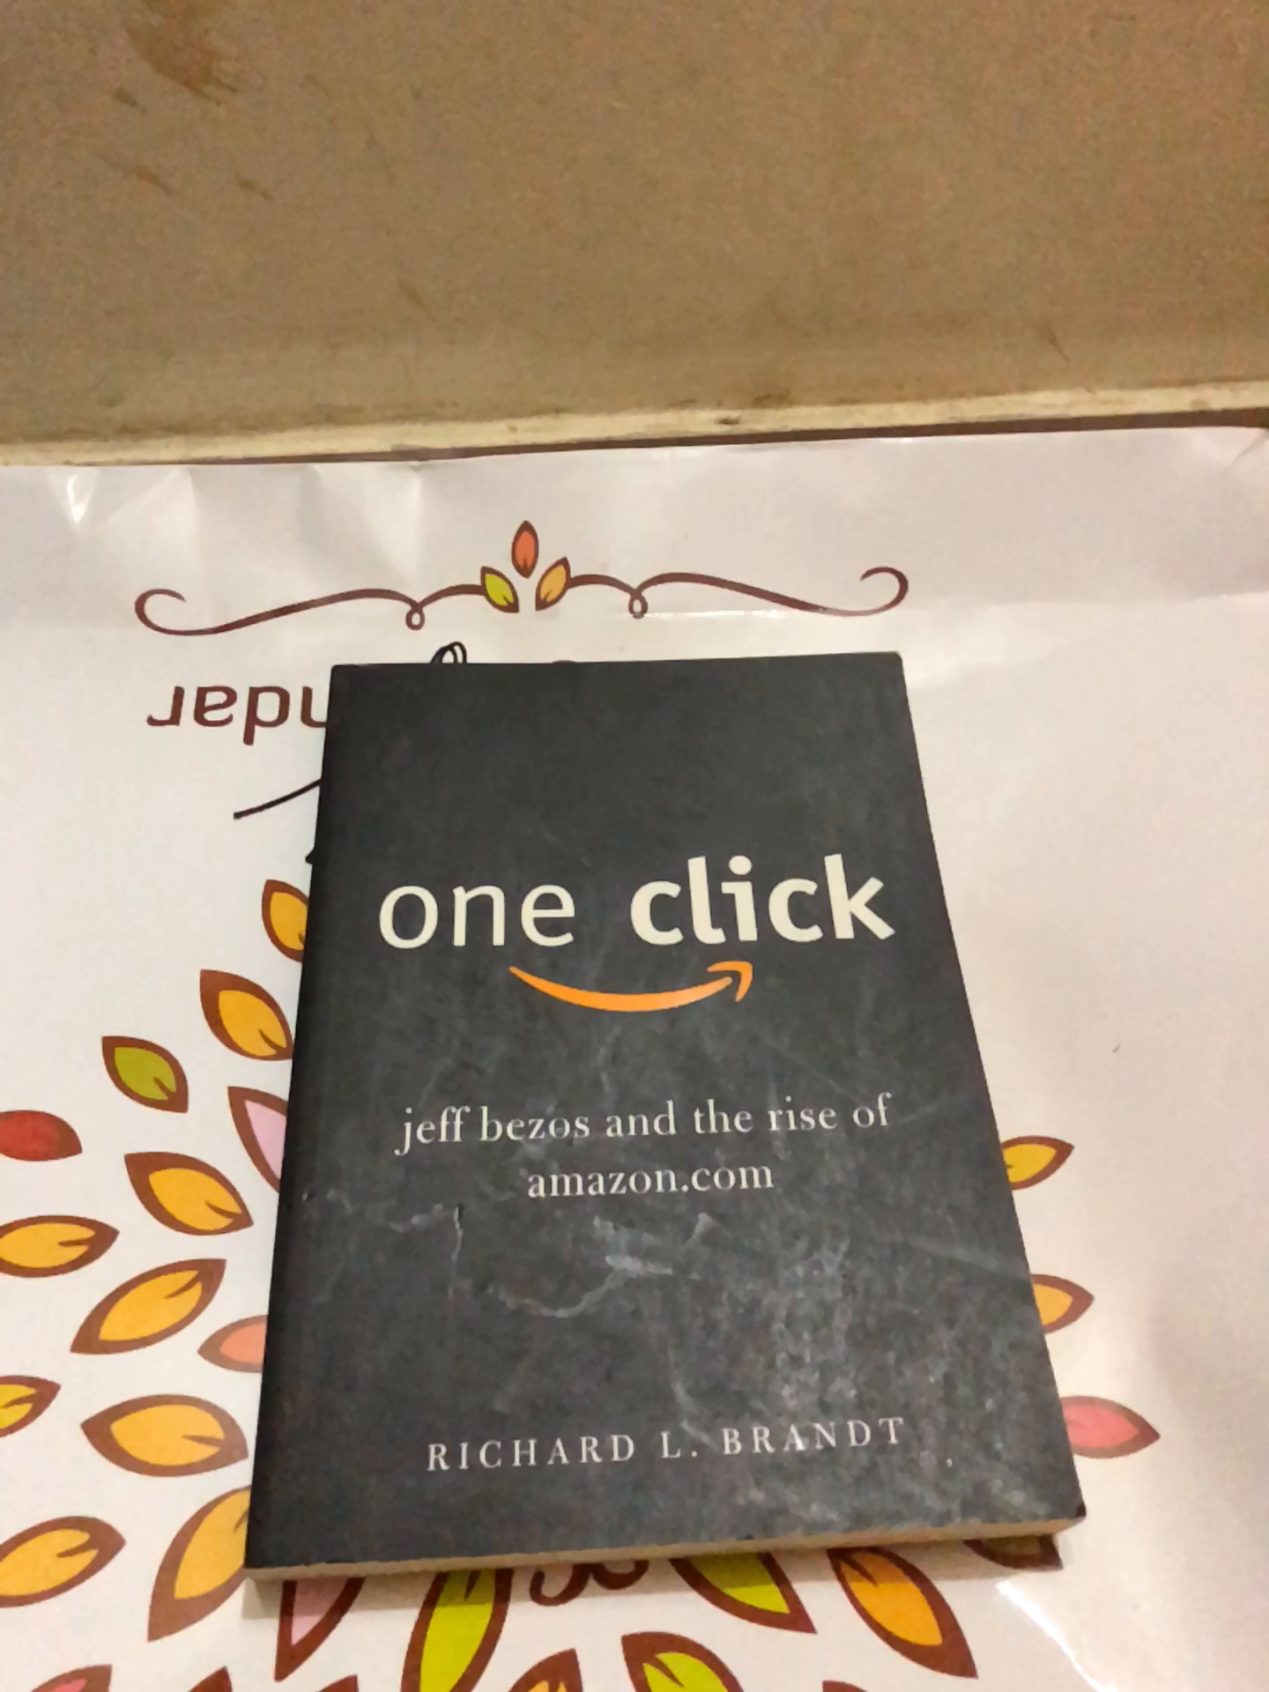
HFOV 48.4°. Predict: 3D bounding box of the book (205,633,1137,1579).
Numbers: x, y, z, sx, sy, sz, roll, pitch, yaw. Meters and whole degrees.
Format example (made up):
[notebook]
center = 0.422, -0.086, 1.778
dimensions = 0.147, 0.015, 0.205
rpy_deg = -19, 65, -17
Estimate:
[book]
center = 0.004, 0.038, 0.318
dimensions = 0.160, 0.020, 0.221
rpy_deg = -2, 52, 0
